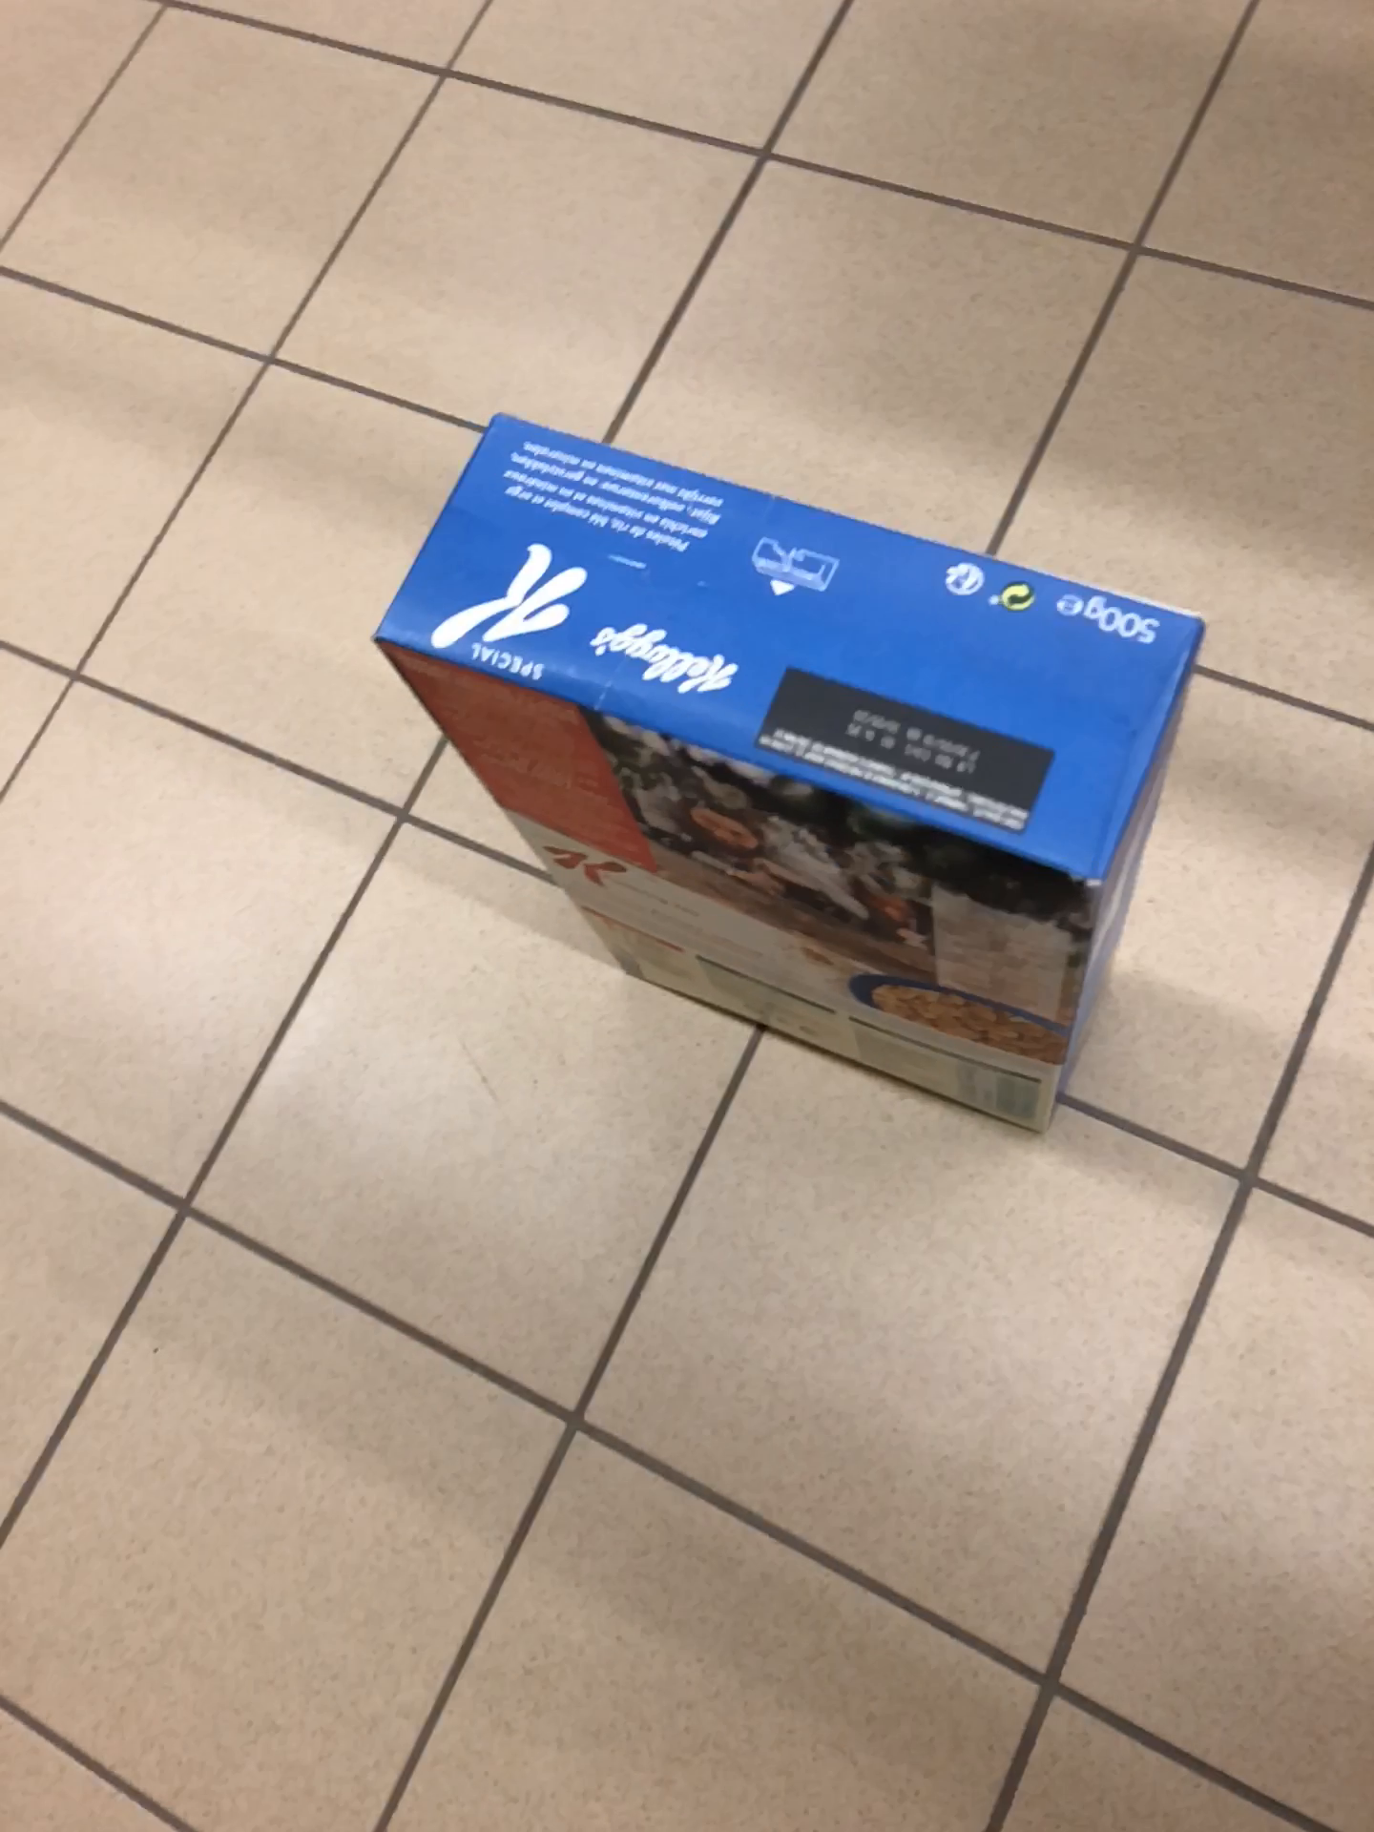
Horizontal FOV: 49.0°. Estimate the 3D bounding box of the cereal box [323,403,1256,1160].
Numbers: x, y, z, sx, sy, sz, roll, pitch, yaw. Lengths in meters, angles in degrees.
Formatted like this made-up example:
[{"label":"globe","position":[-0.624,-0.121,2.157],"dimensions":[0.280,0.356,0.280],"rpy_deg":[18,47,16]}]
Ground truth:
[{"label":"cereal box","position":[0.044,-0.019,0.494],"dimensions":[0.210,0.300,0.070],"rpy_deg":[20,76,17]}]
